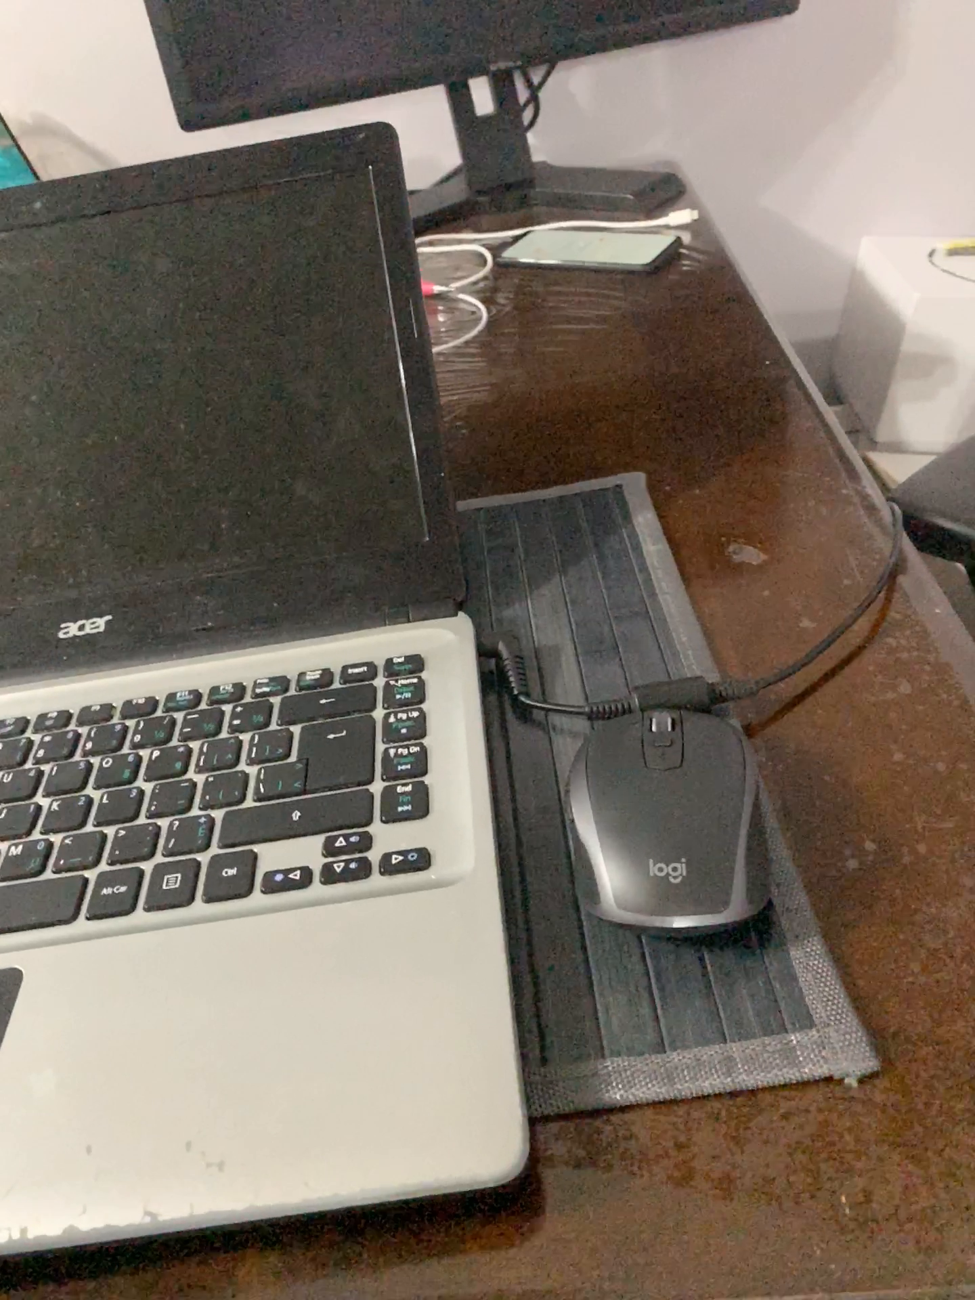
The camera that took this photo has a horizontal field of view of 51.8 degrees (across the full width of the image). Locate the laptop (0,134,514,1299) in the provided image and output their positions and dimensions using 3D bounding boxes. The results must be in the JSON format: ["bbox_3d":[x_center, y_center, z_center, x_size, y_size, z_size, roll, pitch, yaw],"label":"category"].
[{"bbox_3d":[-0.183,-0.030,0.343,0.330,0.146,0.388,-8,38,1],"label":"laptop"}]
